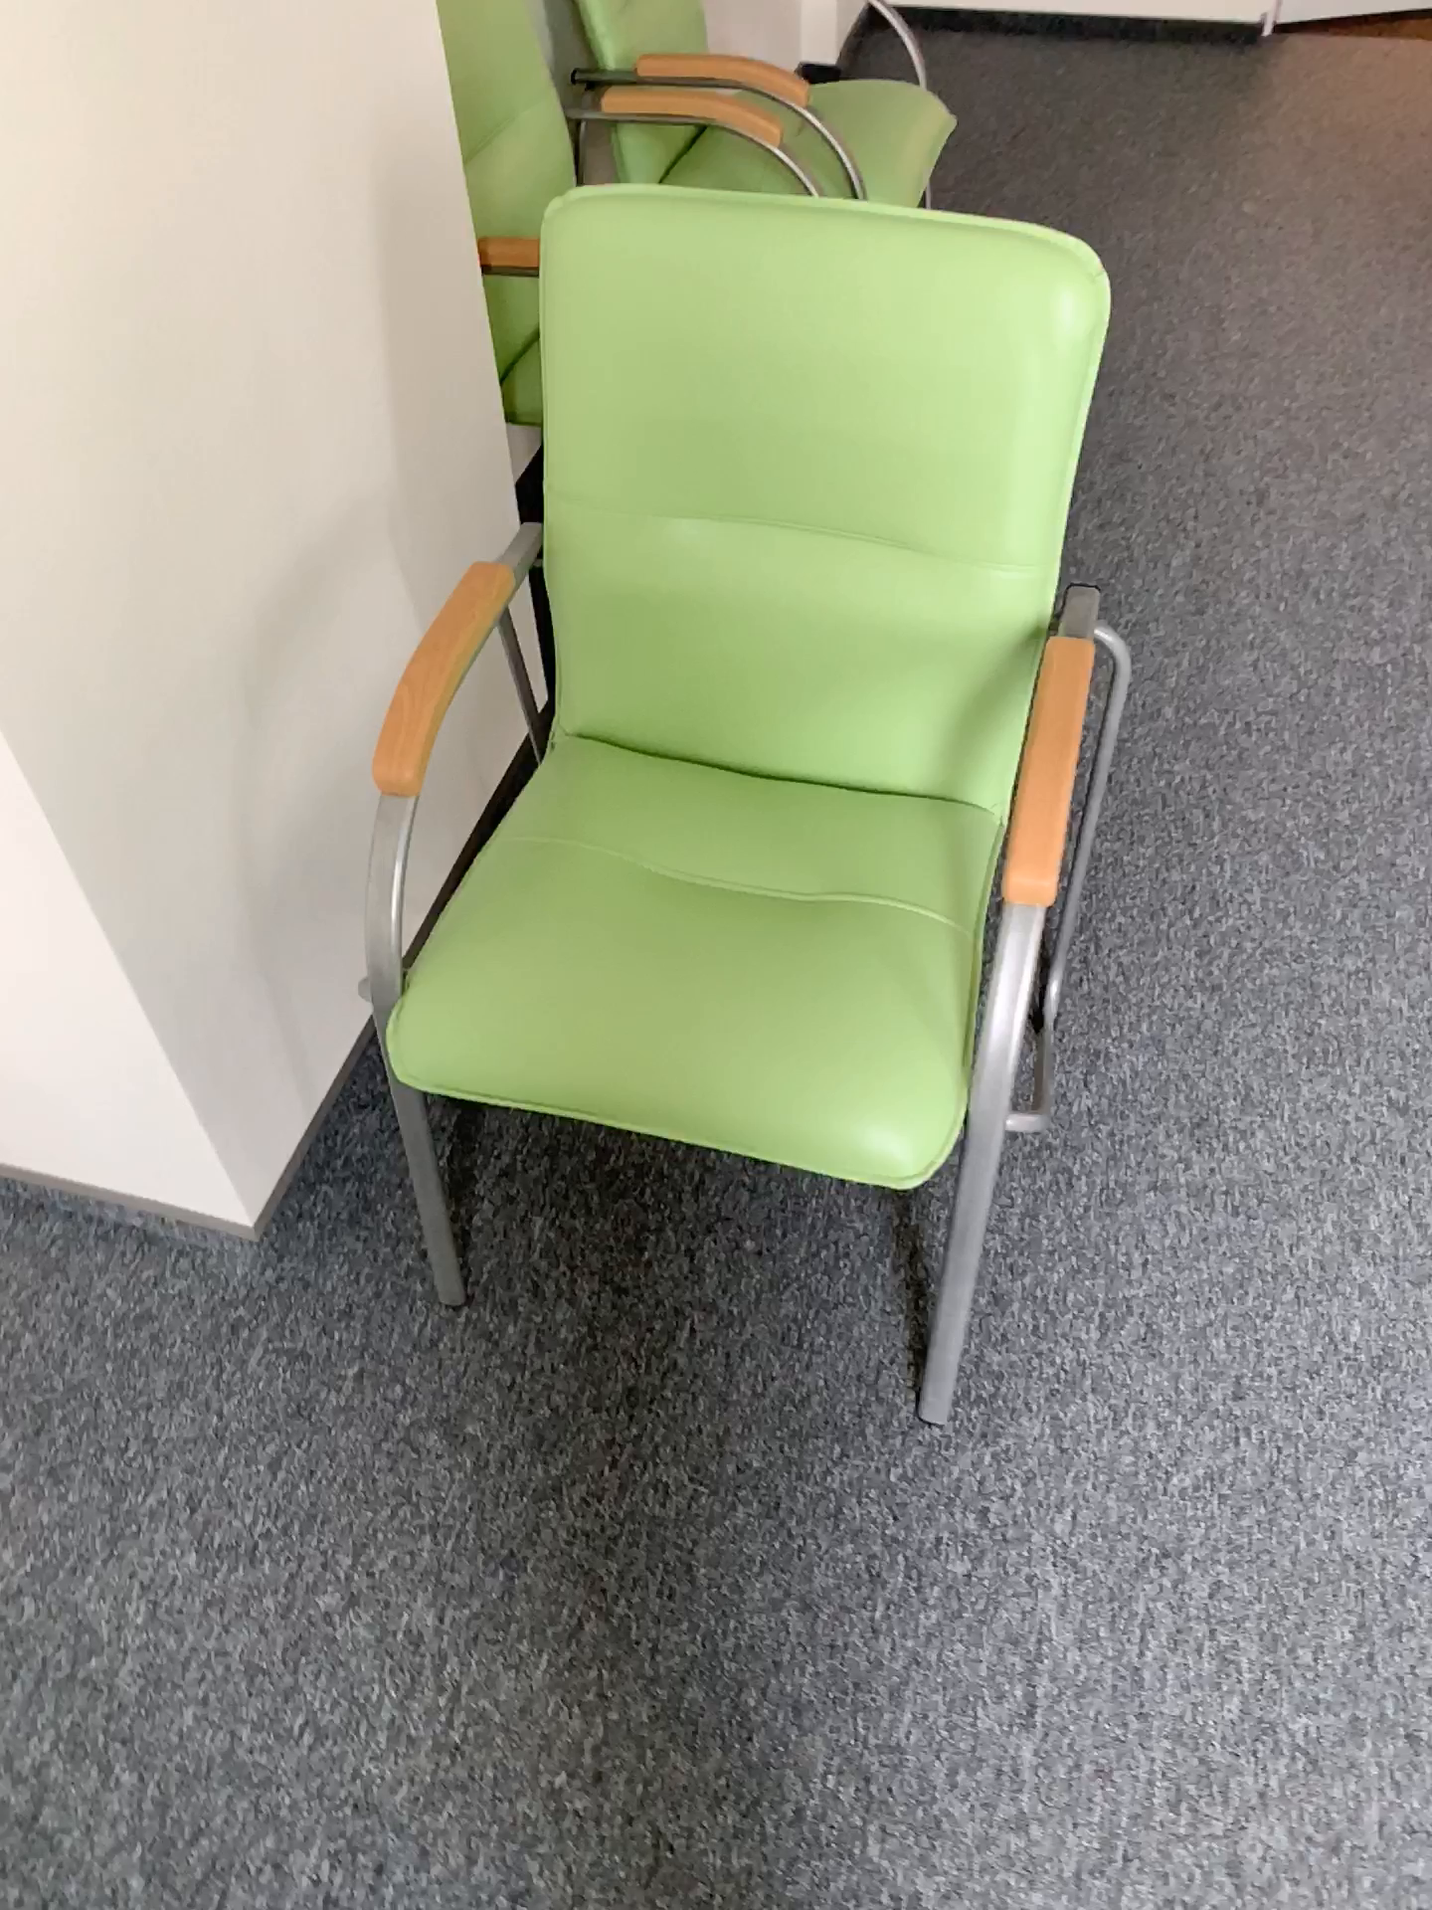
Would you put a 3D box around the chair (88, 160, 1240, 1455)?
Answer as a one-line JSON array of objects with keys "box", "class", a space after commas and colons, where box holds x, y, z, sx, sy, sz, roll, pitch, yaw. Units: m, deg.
[{"box": [0.033, -0.105, 1.313, 0.620, 0.876, 0.623, 11, 49, 12], "class": "chair"}]
